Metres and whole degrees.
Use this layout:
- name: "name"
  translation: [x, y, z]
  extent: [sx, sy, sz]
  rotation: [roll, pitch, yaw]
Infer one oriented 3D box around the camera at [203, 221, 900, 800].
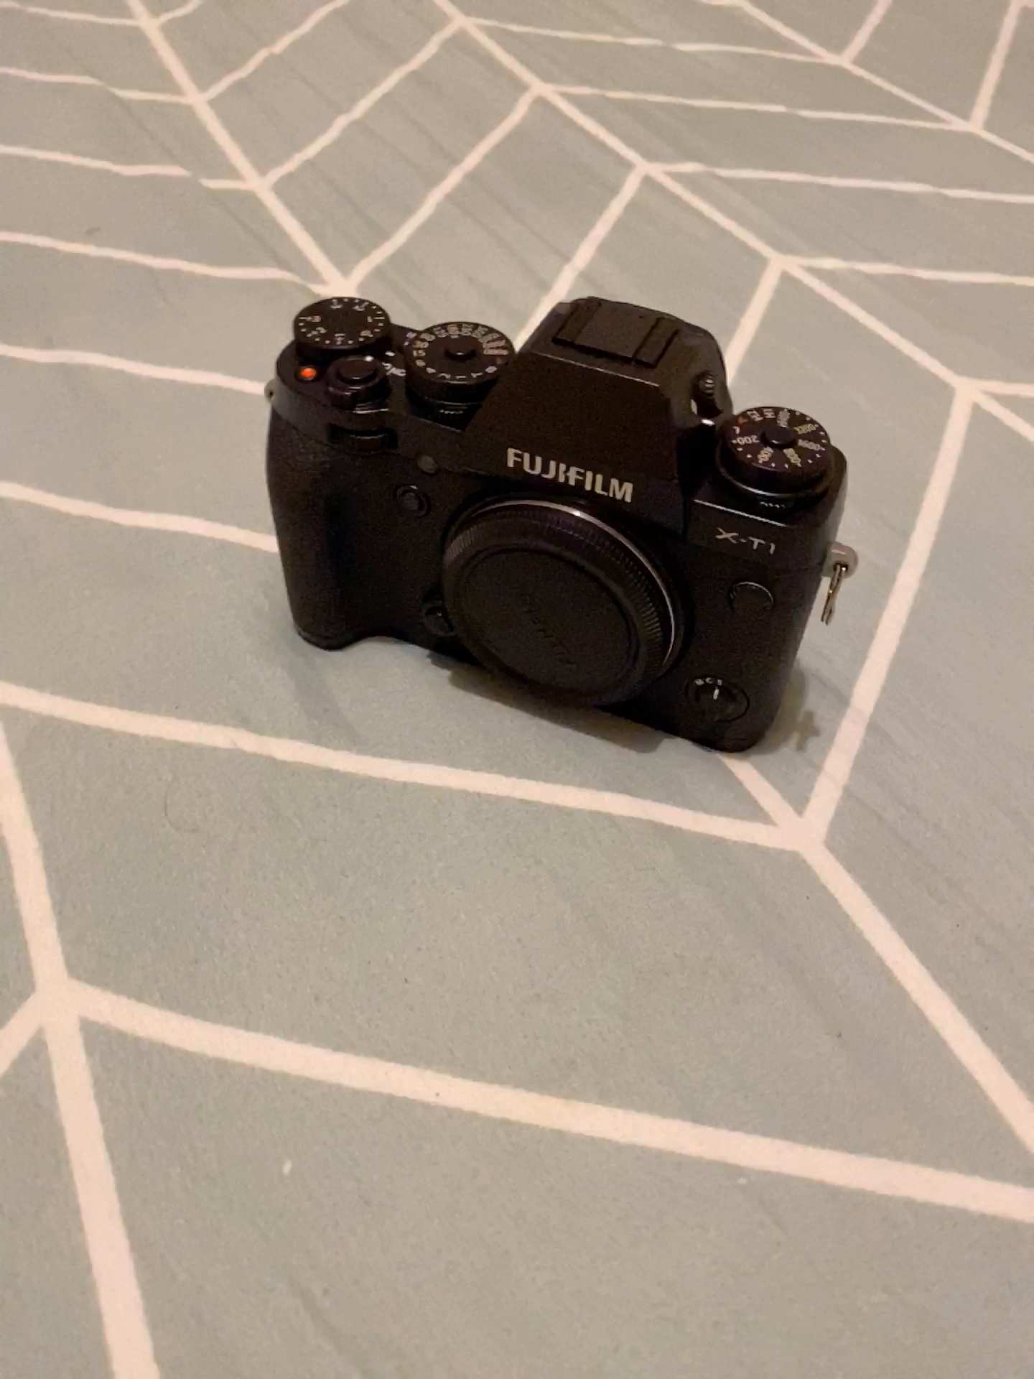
- name: "camera"
  translation: [0.006, -0.041, 0.247]
  extent: [0.130, 0.087, 0.052]
  rotation: [19, 51, 14]
